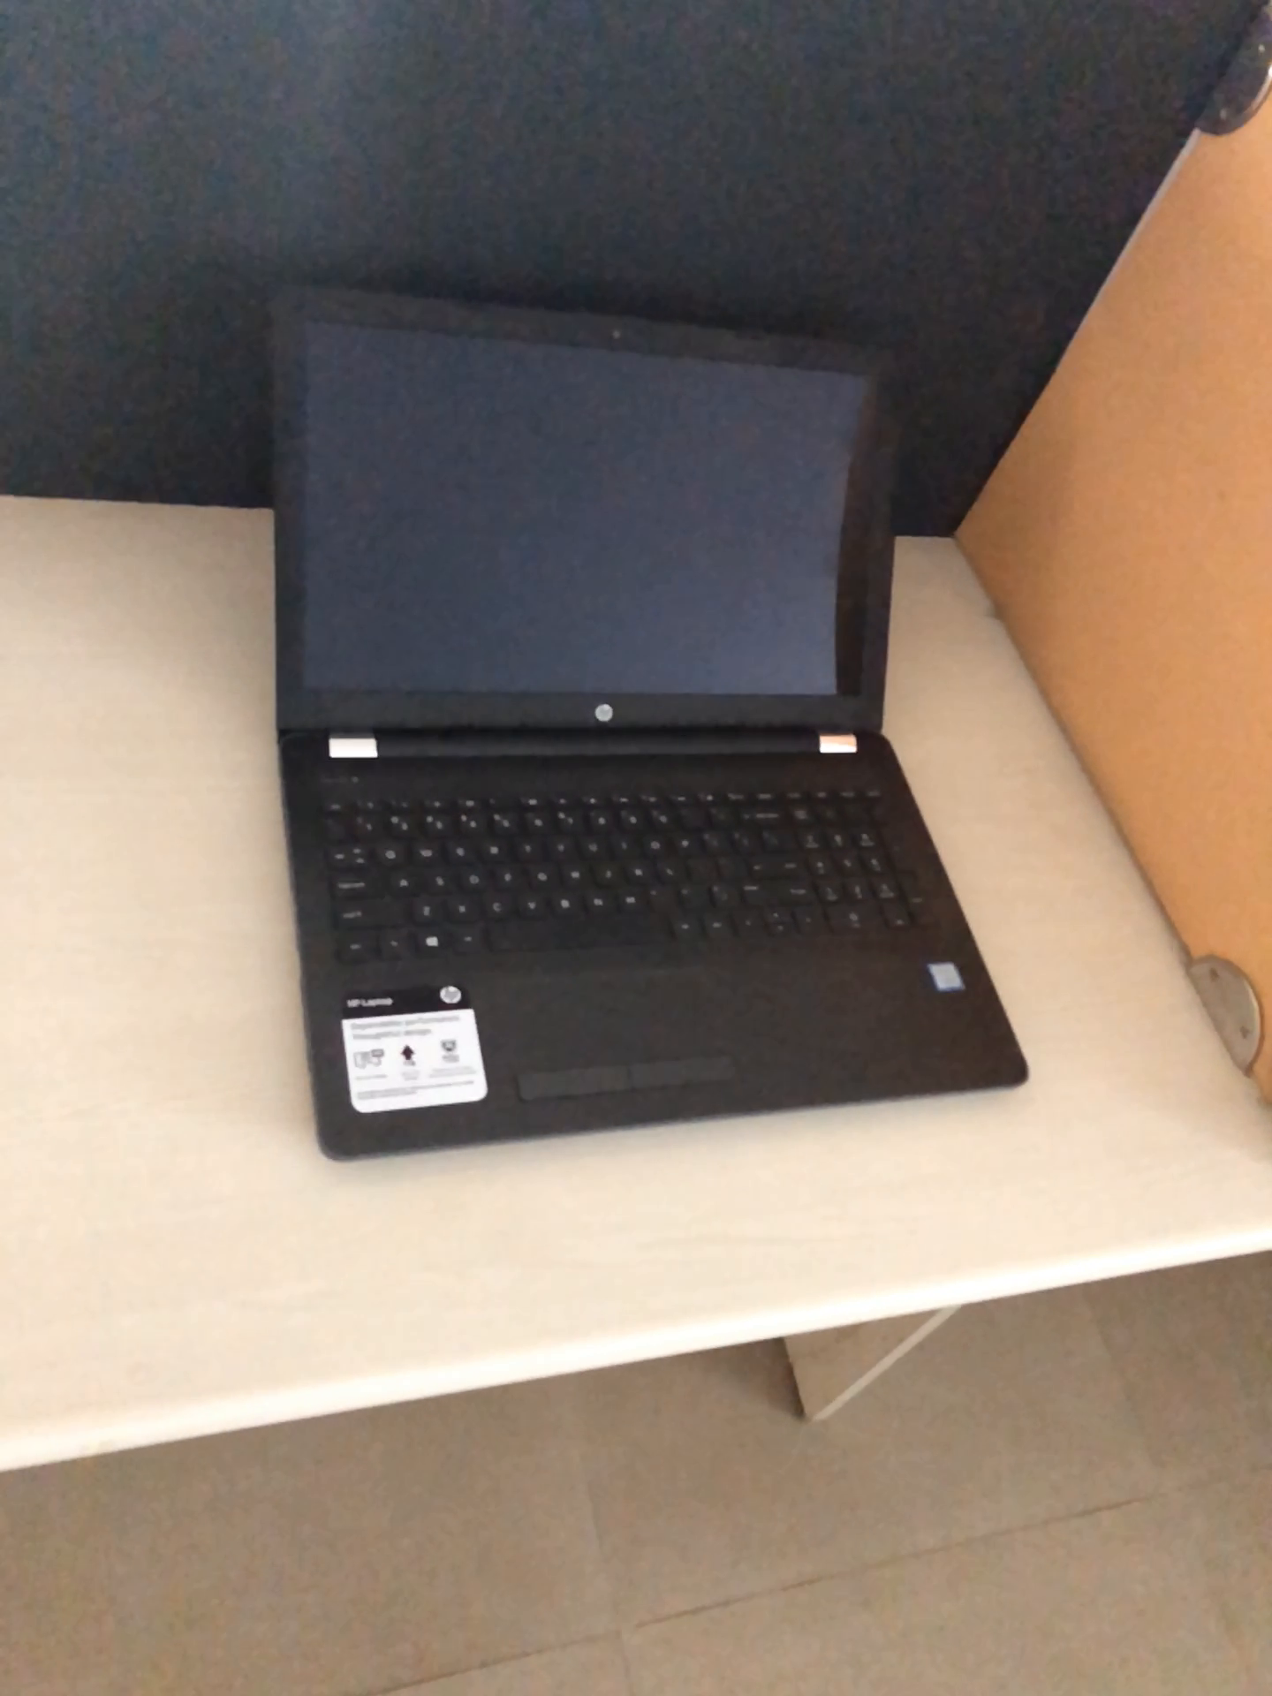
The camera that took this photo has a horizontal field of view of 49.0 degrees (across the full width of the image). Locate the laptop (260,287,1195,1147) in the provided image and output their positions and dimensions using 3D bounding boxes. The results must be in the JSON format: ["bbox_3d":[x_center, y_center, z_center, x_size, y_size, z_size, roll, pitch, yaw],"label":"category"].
[{"bbox_3d":[0.012,-0.085,0.753,0.378,0.173,0.409,-2,54,-21],"label":"laptop"}]
